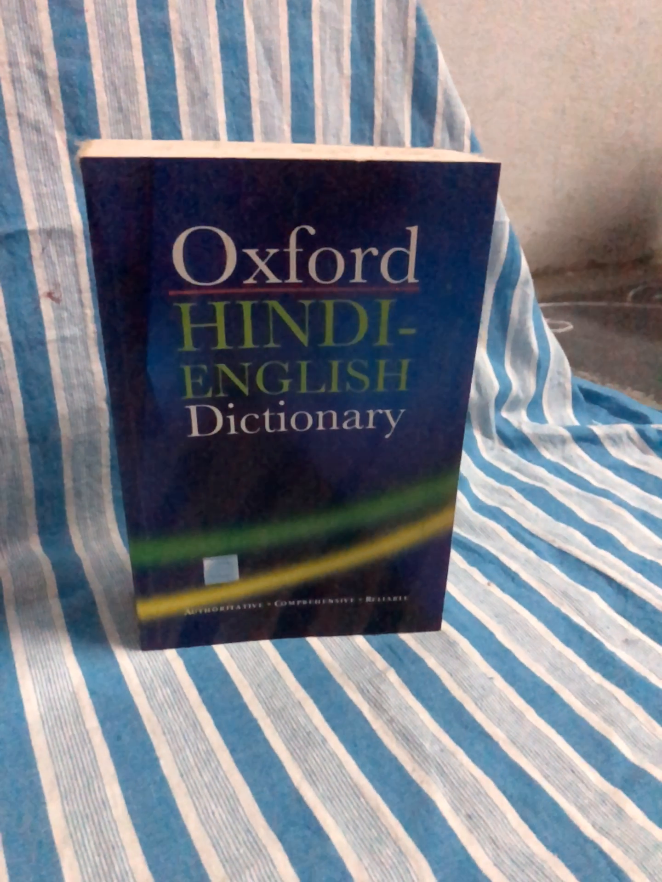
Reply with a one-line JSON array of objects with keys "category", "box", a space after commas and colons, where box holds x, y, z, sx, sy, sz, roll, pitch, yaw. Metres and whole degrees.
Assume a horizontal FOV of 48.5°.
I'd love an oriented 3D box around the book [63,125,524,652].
[{"category": "book", "box": [-0.018, -0.012, 0.293, 0.140, 0.199, 0.050, -2, 30, -10]}]
